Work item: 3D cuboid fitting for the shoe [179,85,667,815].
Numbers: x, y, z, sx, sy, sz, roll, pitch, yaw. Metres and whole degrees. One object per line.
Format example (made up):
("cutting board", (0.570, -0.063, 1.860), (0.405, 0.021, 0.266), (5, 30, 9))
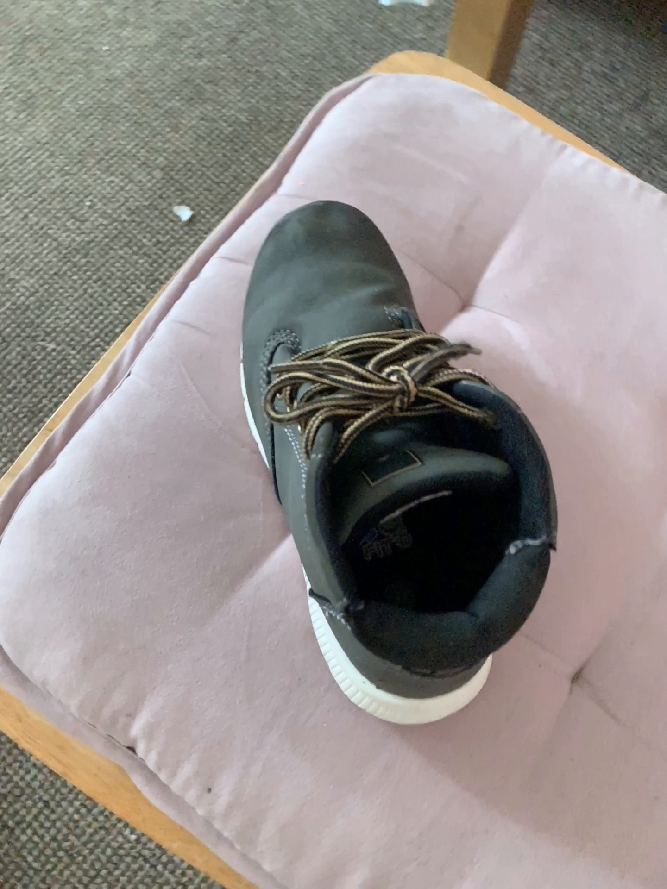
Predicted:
("shoe", (0.020, 0.001, 0.285), (0.100, 0.130, 0.231), (-14, 73, -4))
